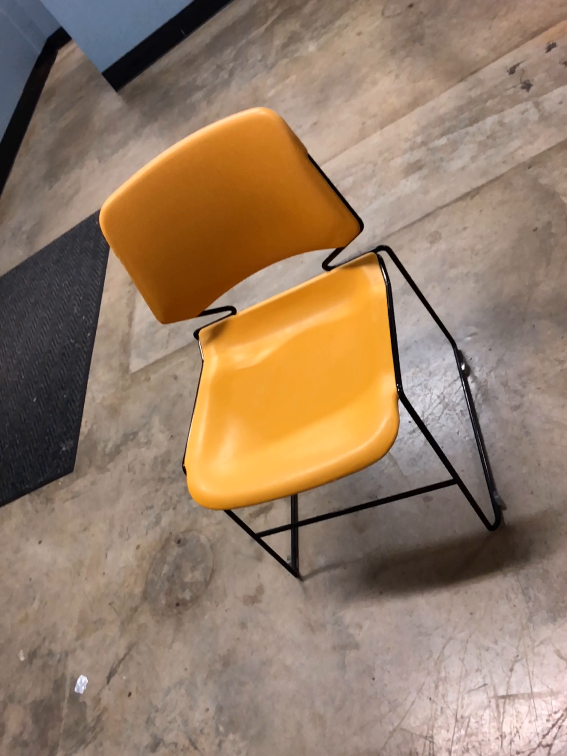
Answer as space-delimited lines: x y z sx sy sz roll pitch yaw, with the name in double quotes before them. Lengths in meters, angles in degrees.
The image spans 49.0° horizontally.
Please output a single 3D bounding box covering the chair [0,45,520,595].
"chair" 0.004 -0.042 1.242 0.579 0.734 0.617 -22 46 25
